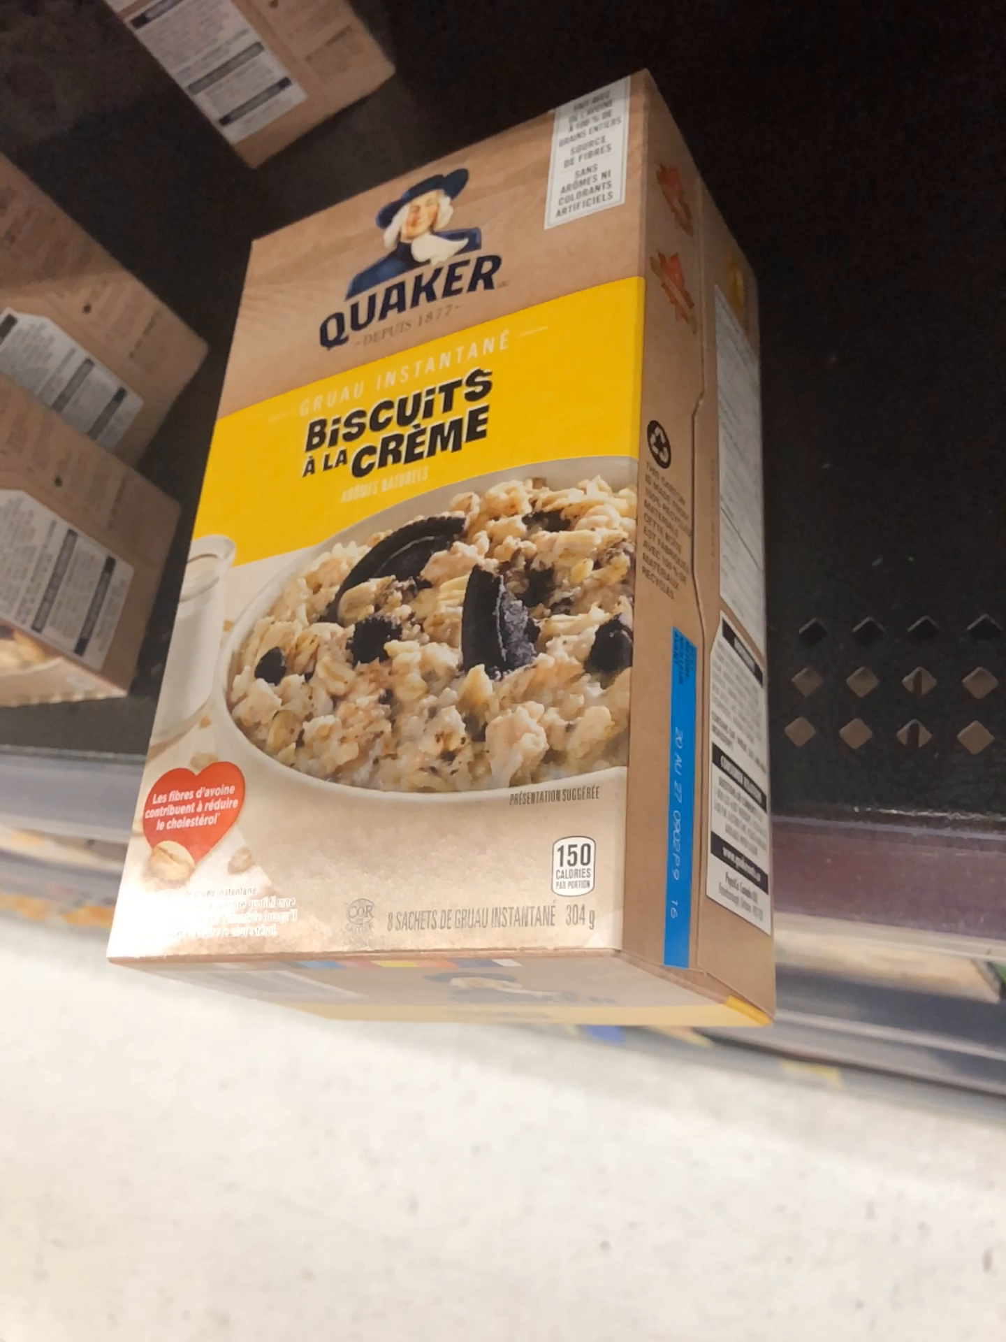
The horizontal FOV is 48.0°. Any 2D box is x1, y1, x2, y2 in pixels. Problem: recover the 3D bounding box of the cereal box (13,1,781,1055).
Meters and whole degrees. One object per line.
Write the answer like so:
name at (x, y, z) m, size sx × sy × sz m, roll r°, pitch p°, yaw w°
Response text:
cereal box at (-0.016, -0.026, 0.267) m, size 0.140 × 0.070 × 0.210 m, roll -9°, pitch 64°, yaw 30°
